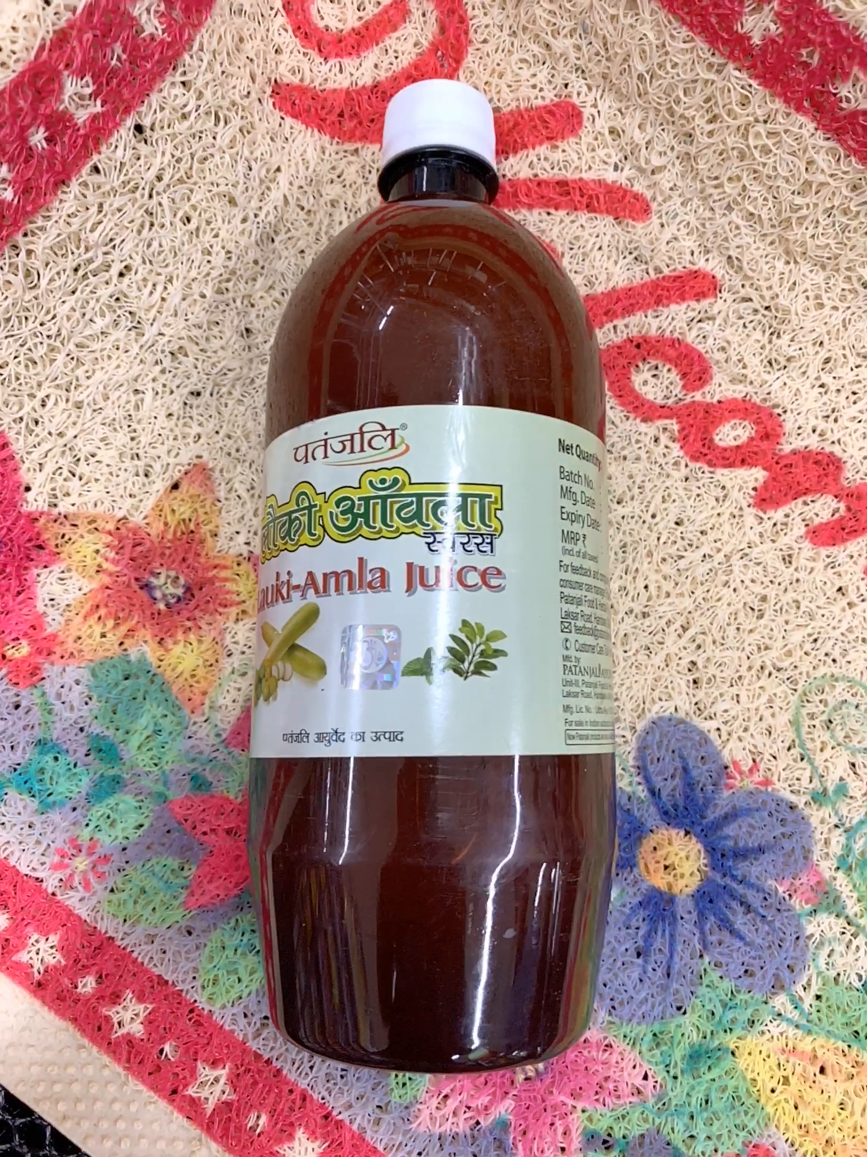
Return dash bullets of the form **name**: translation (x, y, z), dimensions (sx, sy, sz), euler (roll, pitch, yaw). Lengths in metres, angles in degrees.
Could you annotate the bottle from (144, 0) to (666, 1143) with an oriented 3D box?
- **bottle**: translation (-0.005, -0.025, 0.218), dimensions (0.080, 0.080, 0.250), euler (11, 75, -46)
